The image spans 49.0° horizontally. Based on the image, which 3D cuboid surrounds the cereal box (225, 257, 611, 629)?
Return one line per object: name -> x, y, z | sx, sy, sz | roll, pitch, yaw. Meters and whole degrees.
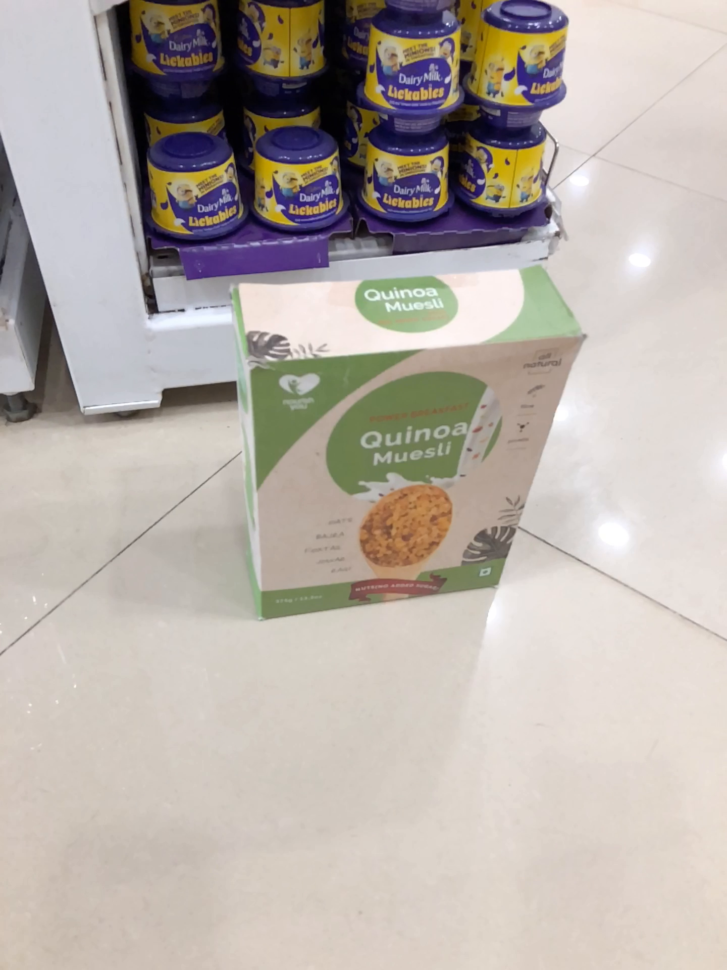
cereal box -> 0.017, -0.014, 0.418 | 0.160, 0.189, 0.060 | -7, 48, -11
